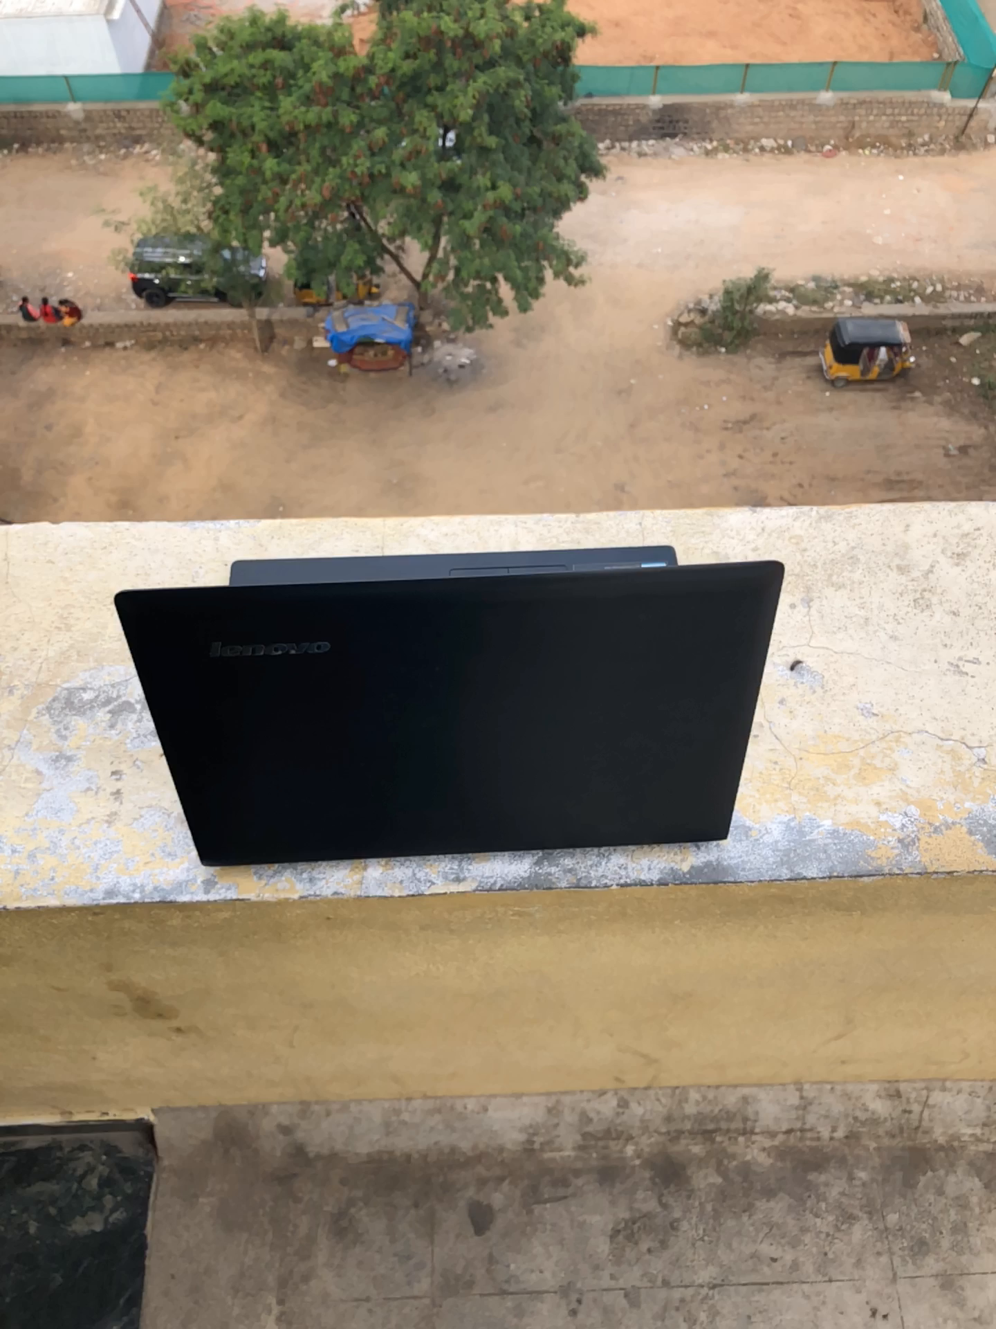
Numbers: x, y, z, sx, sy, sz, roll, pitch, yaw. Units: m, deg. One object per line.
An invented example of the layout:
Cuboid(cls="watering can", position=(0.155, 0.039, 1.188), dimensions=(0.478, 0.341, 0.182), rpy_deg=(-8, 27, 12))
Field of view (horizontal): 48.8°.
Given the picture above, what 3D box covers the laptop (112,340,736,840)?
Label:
Cuboid(cls="laptop", position=(-0.045, -0.044, 0.748), dimensions=(0.333, 0.224, 0.246), rpy_deg=(-2, 58, 0))
